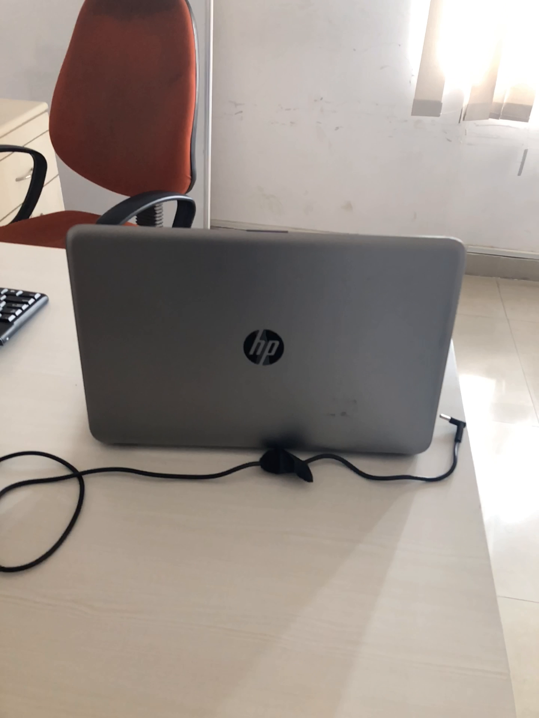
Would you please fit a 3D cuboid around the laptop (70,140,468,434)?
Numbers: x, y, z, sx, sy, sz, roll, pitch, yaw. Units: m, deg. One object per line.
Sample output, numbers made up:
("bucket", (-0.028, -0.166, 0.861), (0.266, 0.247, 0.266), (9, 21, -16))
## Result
("laptop", (-0.003, -0.086, 0.666), (0.350, 0.226, 0.217), (2, 40, 1))
